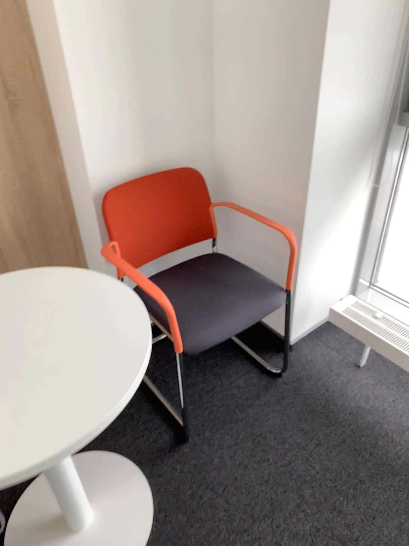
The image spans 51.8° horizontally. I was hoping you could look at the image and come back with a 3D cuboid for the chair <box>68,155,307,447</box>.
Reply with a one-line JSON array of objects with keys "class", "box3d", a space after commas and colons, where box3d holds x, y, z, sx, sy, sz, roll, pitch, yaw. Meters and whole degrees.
[{"class": "chair", "box3d": [-0.056, 0.071, 1.603, 0.571, 0.775, 0.562, -25, 40, -28]}]
